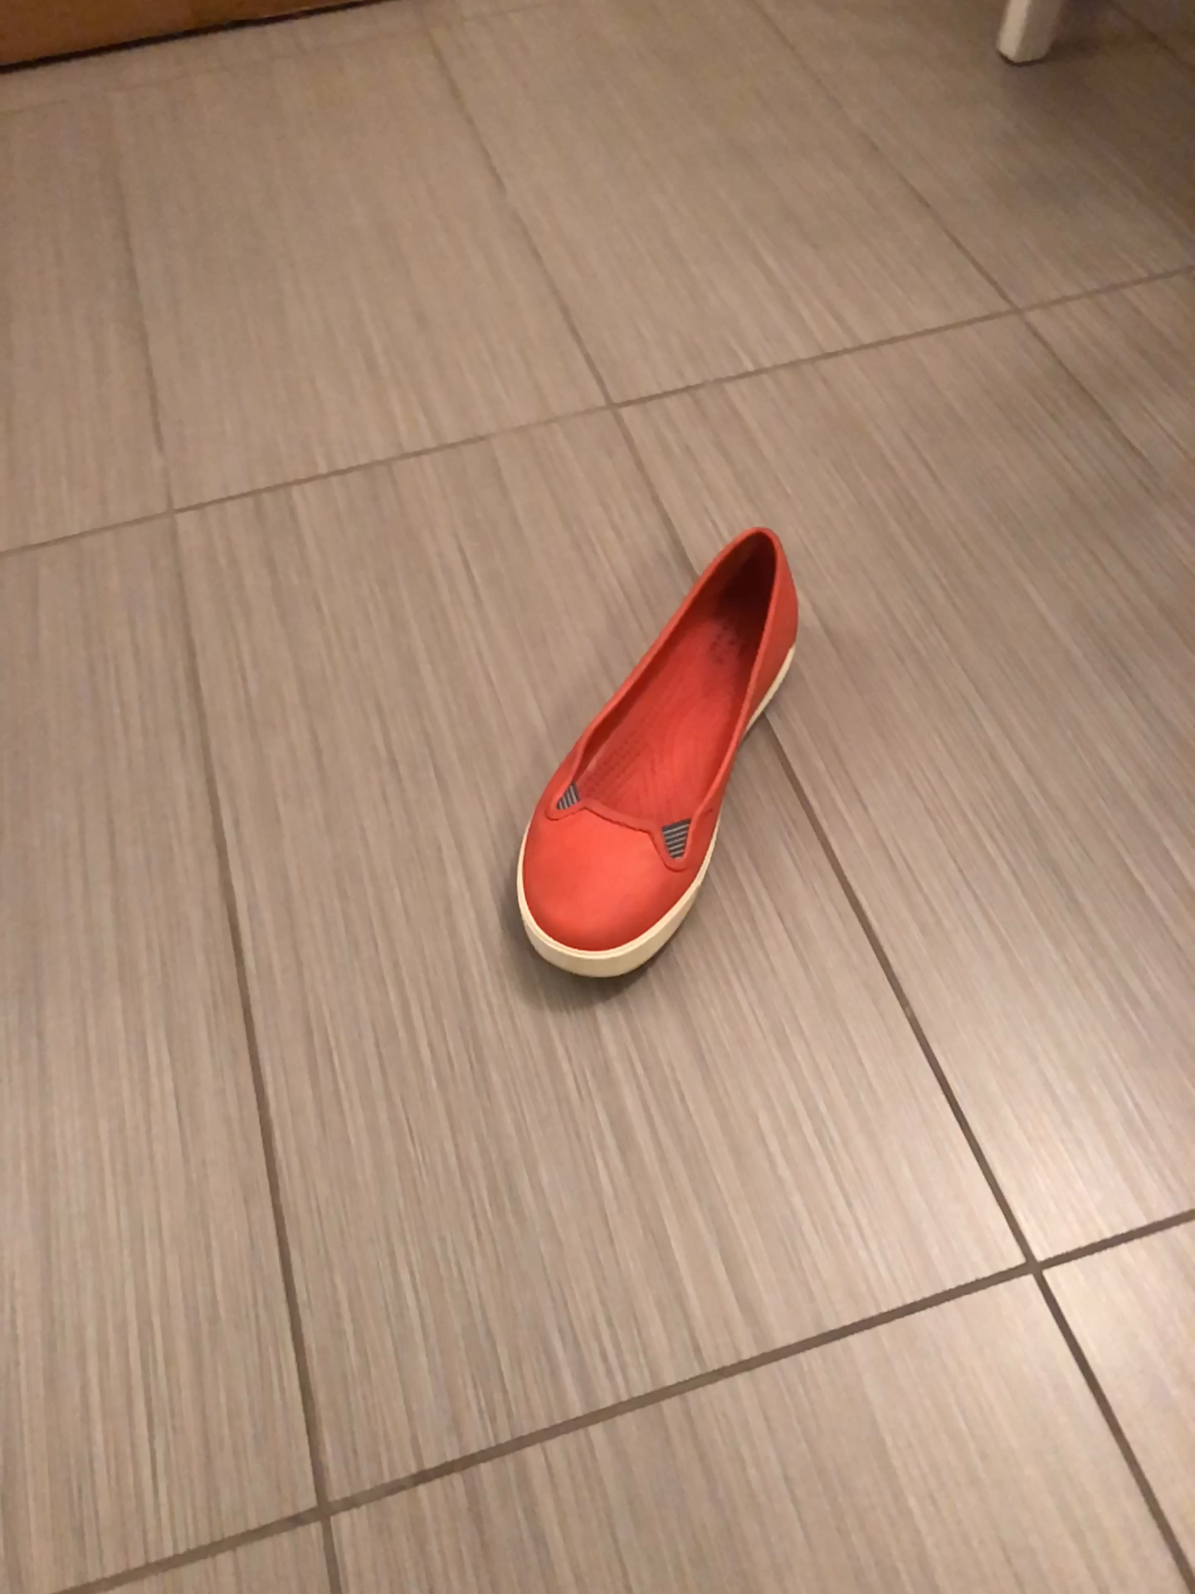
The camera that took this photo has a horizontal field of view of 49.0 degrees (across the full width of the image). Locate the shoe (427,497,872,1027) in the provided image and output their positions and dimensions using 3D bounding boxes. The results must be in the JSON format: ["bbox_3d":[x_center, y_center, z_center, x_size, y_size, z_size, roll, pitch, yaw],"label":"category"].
[{"bbox_3d":[0.036,-0.029,0.665,0.100,0.070,0.271,23,58,20],"label":"shoe"}]
